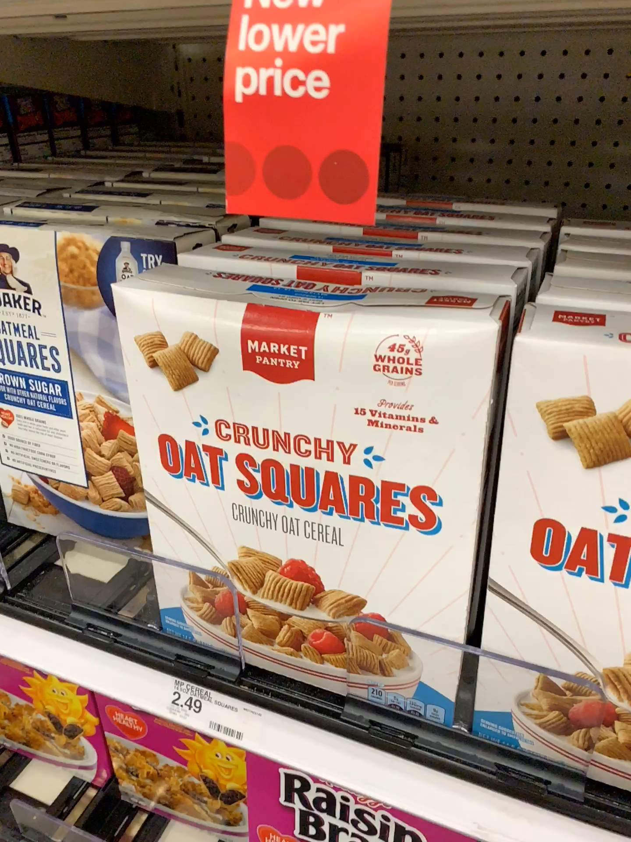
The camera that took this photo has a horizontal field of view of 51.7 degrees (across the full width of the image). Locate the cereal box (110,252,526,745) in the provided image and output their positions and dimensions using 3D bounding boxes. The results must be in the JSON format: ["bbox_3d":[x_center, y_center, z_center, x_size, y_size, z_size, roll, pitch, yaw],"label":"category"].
[{"bbox_3d":[0.000,0.044,0.367,0.190,0.249,0.060,10,29,19],"label":"cereal box"}]
